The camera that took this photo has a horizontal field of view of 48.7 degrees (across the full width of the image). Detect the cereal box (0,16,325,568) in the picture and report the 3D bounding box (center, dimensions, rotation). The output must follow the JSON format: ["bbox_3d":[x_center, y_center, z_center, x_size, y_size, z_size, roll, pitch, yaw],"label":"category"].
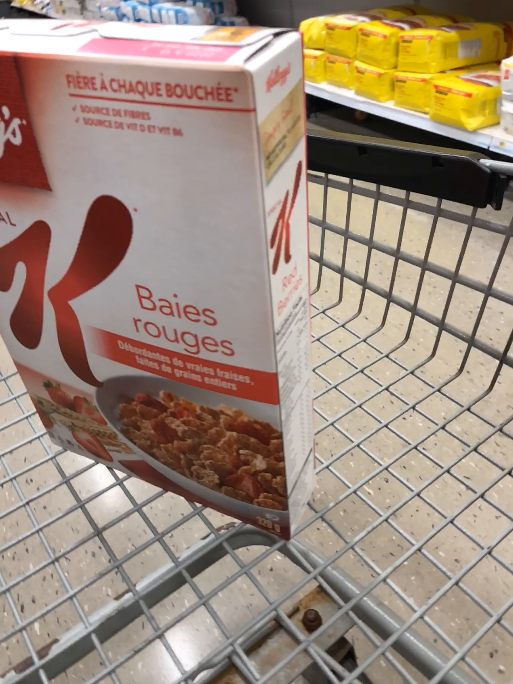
[{"bbox_3d":[-0.072,-0.016,0.304,0.210,0.269,0.050,16,42,24],"label":"cereal box"}]
